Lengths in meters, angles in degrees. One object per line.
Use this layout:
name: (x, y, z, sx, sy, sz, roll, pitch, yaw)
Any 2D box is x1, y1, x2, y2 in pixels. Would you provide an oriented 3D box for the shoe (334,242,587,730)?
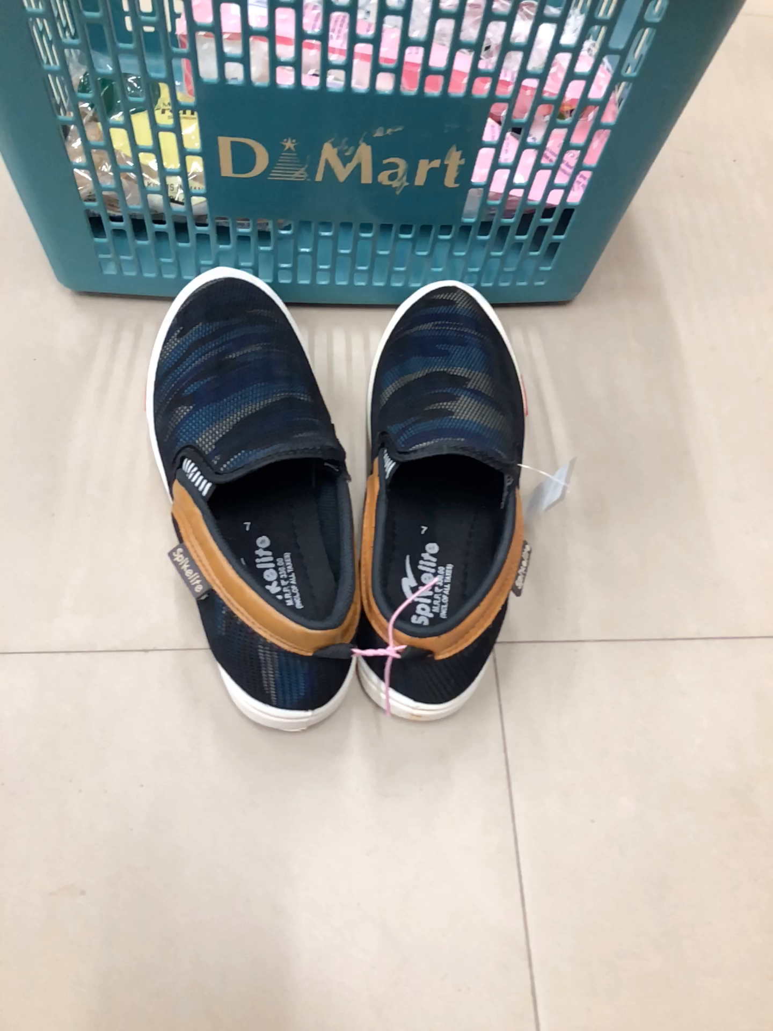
shoe: (0.037, -0.018, 0.472, 0.105, 0.107, 0.239, 6, 62, -4)

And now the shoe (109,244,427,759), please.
shoe: (-0.070, -0.012, 0.456, 0.105, 0.107, 0.239, -11, 64, -12)
